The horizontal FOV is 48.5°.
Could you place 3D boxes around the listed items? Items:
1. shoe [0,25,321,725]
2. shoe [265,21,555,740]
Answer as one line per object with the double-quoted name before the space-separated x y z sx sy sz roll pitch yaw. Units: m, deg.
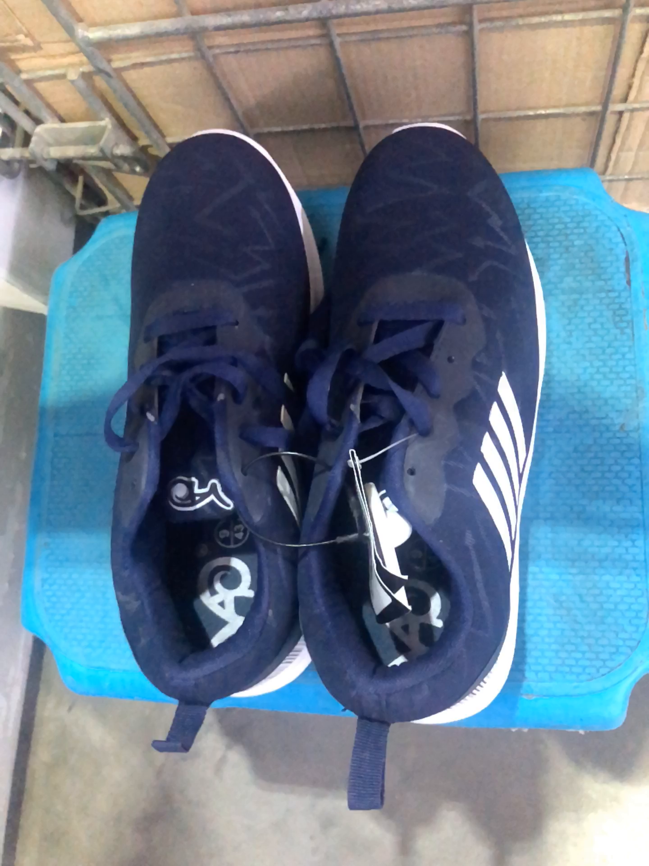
"shoe" -0.065 -0.022 0.327 0.100 0.100 0.270 -4 79 12
"shoe" 0.037 -0.021 0.321 0.100 0.100 0.270 -3 79 12
